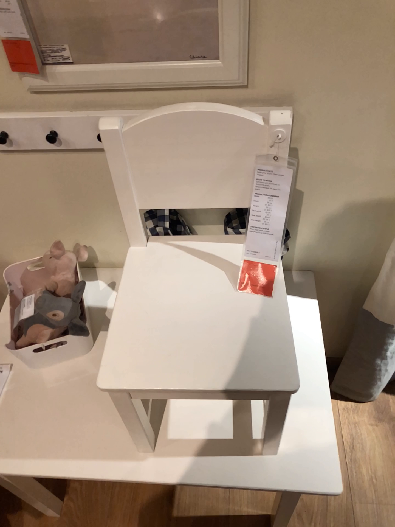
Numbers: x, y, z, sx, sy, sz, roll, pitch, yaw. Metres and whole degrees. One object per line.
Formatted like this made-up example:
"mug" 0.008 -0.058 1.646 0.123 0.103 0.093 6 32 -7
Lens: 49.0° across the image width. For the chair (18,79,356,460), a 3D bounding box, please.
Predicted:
"chair" 0.010 0.058 0.698 0.300 0.557 0.322 -1 49 4
